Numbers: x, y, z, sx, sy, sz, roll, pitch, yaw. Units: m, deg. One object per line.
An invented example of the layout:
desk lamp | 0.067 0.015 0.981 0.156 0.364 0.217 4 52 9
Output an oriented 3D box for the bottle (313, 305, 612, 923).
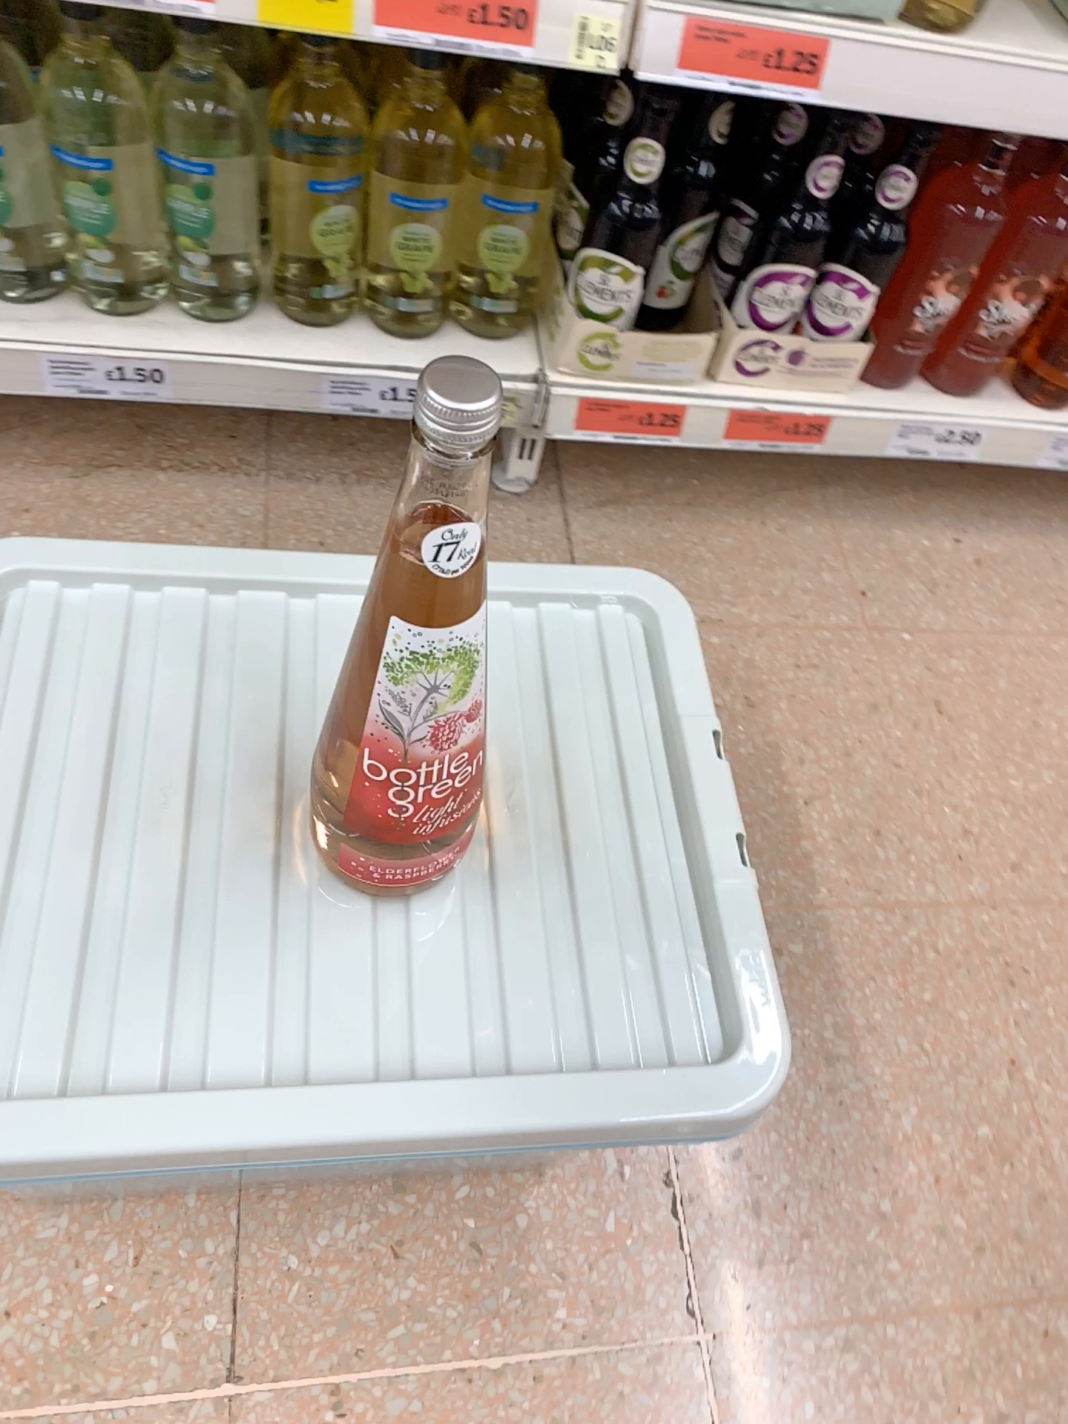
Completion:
bottle | -0.049 -0.015 0.466 0.081 0.299 0.091 -2 57 -14
